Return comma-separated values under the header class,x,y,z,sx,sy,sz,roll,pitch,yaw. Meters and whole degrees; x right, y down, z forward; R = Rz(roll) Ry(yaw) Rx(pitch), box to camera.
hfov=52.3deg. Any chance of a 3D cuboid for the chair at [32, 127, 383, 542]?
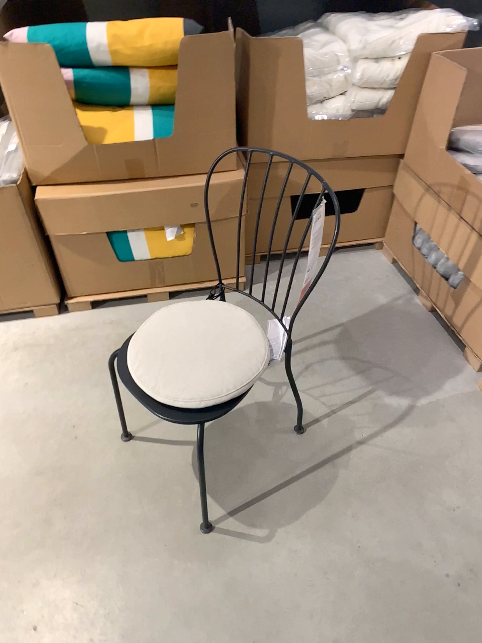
class,x,y,z,sx,sy,sz,roll,pitch,yaw
chair,-0.071,0.046,1.274,0.520,0.817,0.481,-32,53,-29
